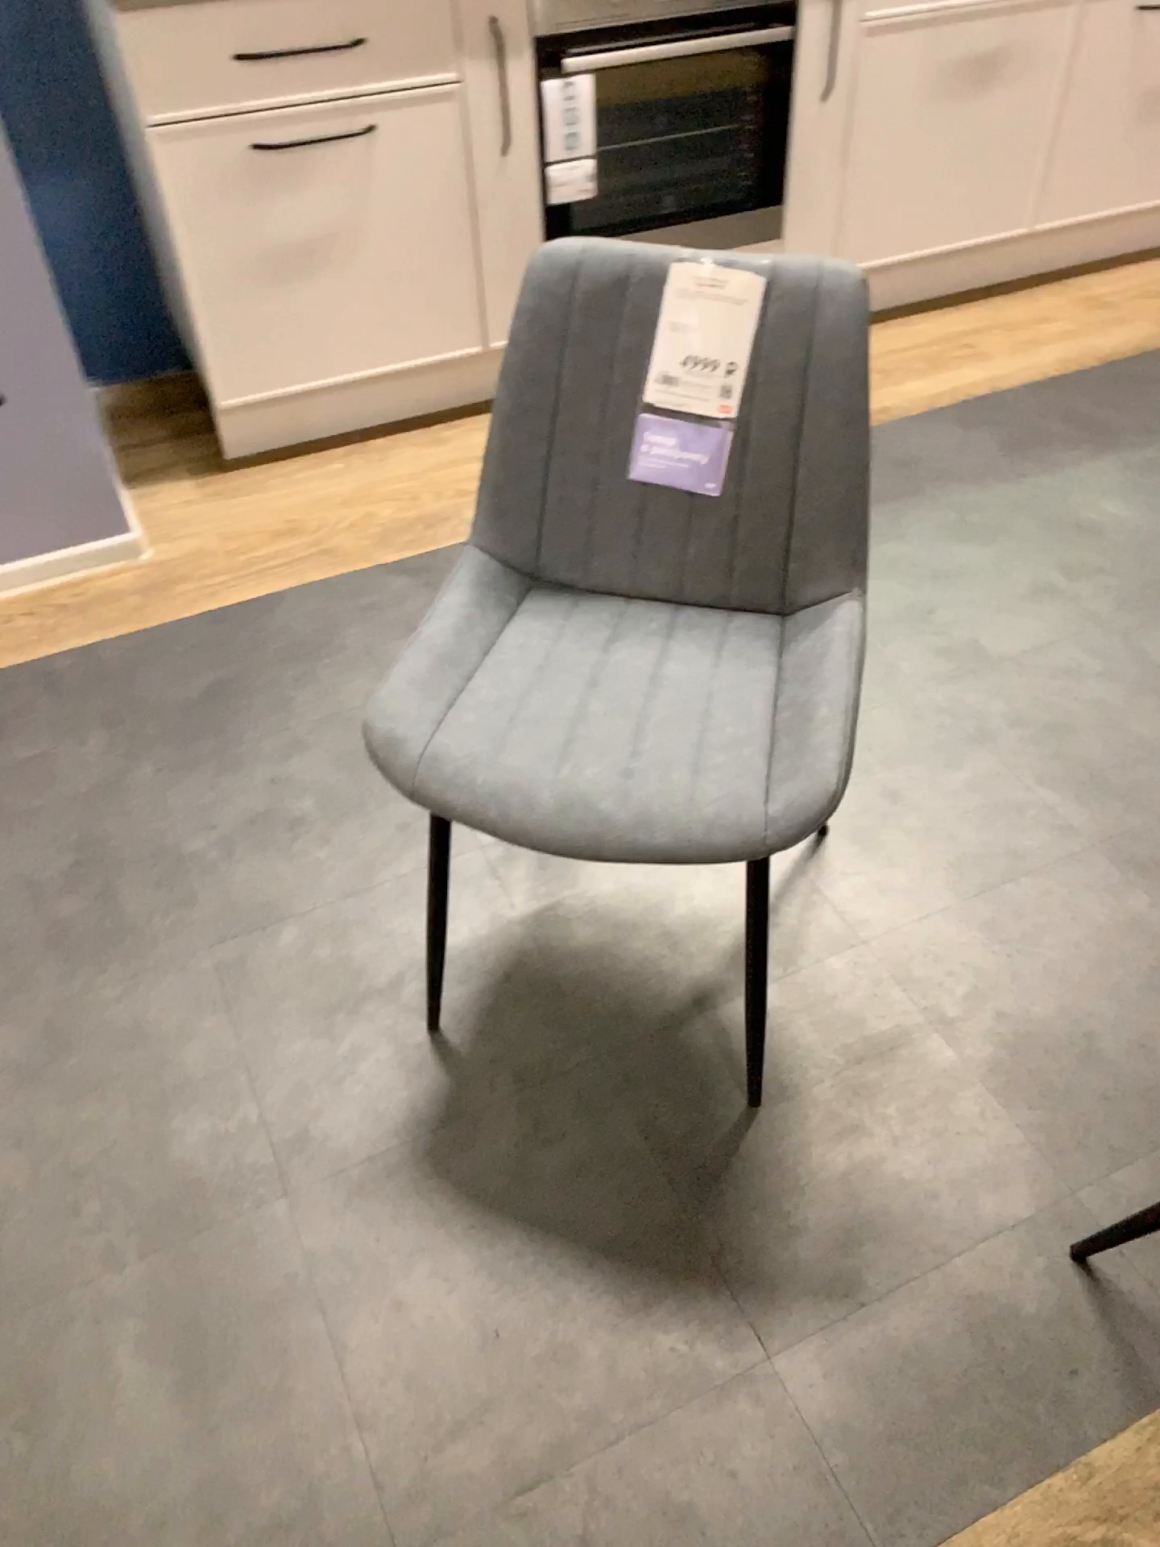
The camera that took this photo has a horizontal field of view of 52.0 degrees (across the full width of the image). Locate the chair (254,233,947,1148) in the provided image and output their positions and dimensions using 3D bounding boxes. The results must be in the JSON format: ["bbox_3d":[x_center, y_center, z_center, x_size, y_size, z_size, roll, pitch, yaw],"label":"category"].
[{"bbox_3d":[0.076,-0.093,1.420,0.523,0.832,0.592,10,44,13],"label":"chair"}]
